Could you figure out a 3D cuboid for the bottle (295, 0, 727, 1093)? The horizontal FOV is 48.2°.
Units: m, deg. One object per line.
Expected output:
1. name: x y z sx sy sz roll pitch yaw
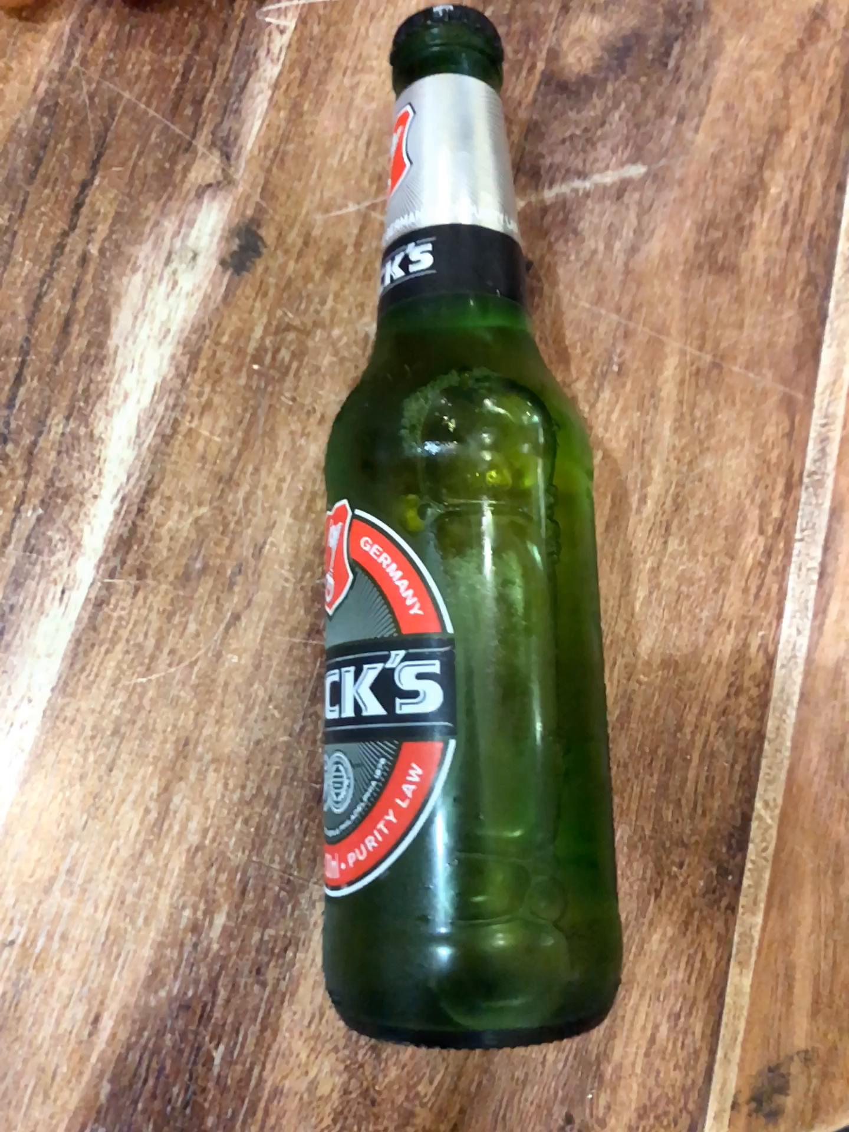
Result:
1. bottle: 0.010 -0.022 0.211 0.070 0.060 0.230 1 77 -12
